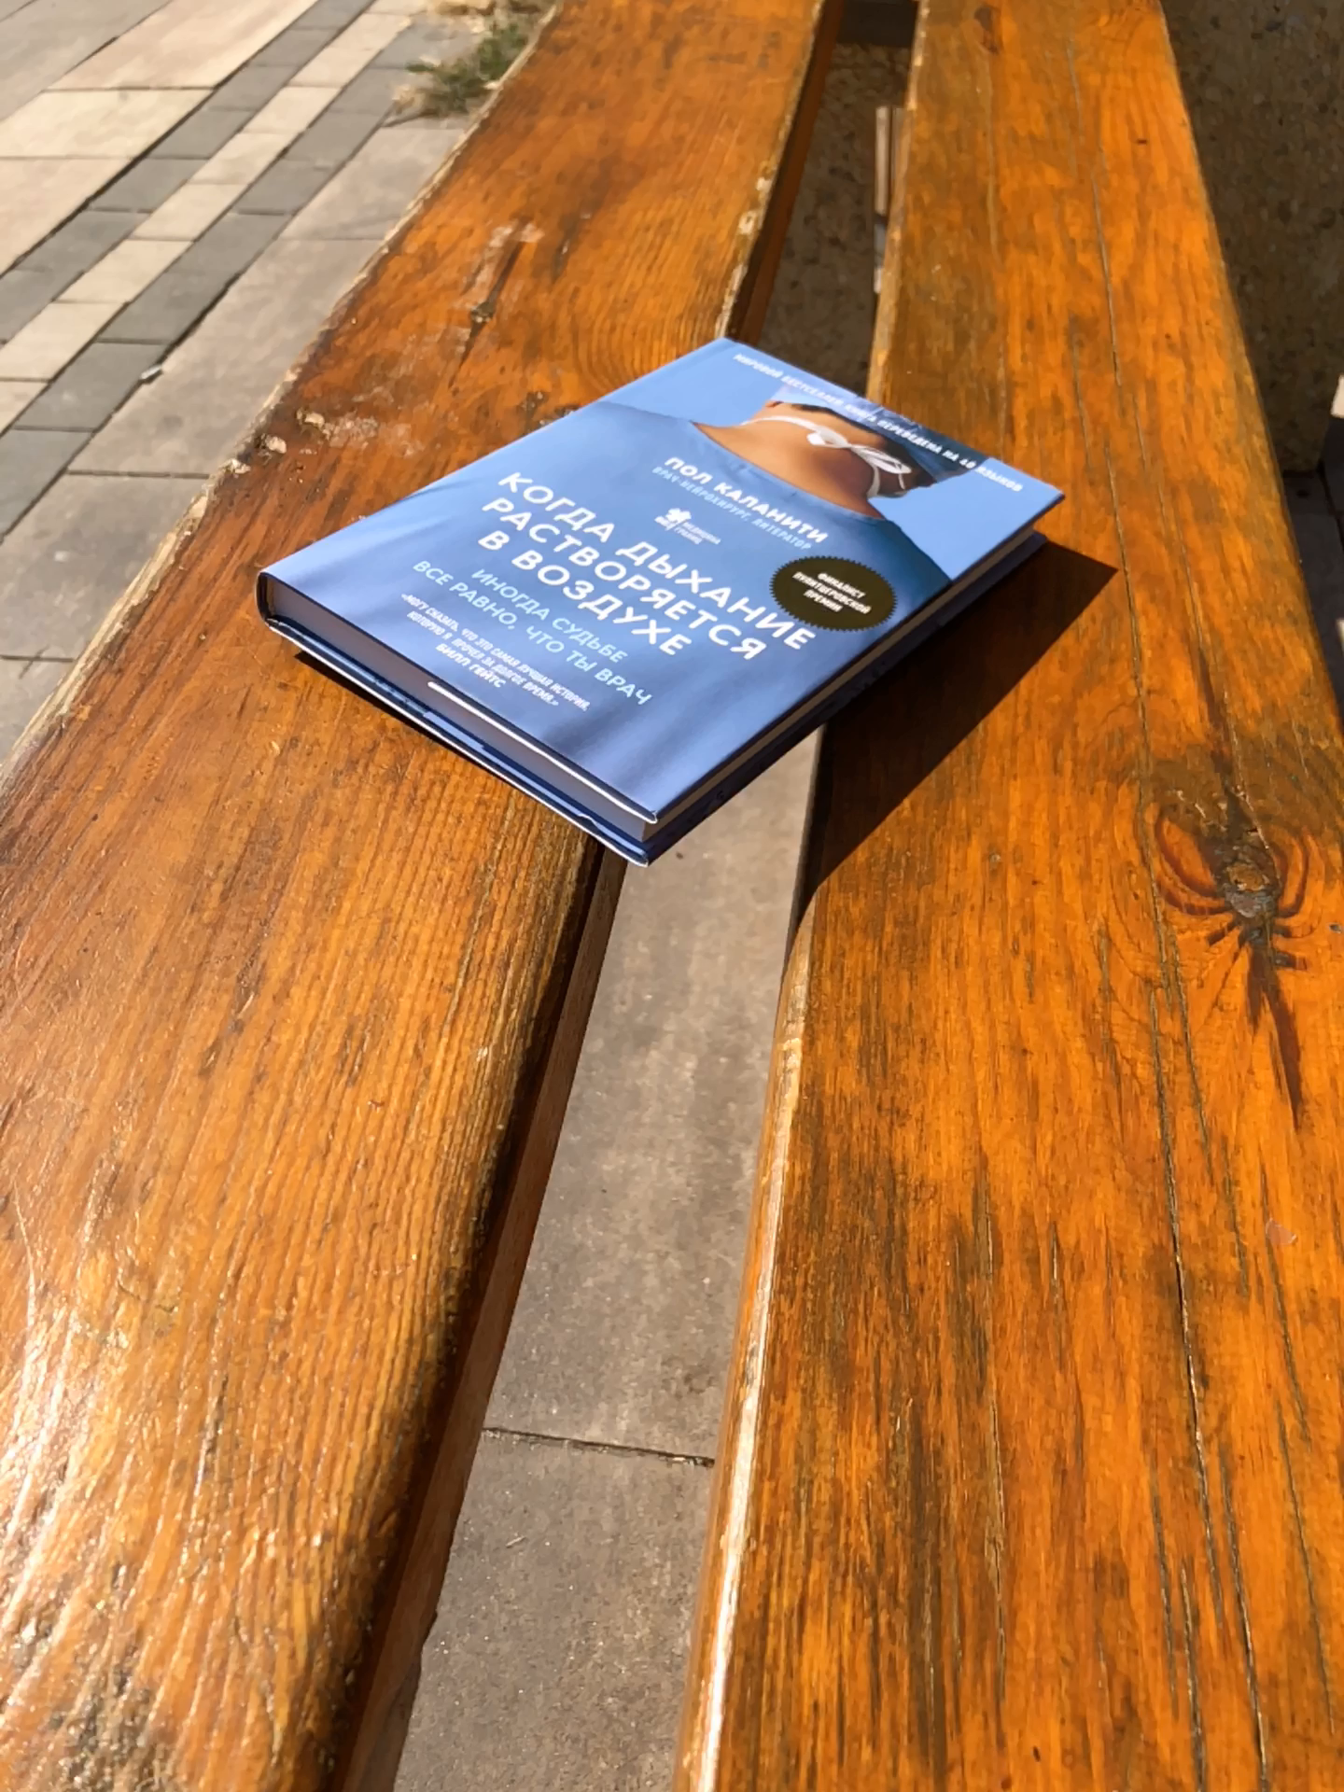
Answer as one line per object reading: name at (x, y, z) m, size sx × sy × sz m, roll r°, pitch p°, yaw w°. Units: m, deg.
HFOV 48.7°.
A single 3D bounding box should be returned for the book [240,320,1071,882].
book at (0.003, -0.102, 0.440) m, size 0.140 × 0.025 × 0.211 m, roll 33°, pitch 51°, yaw 23°
